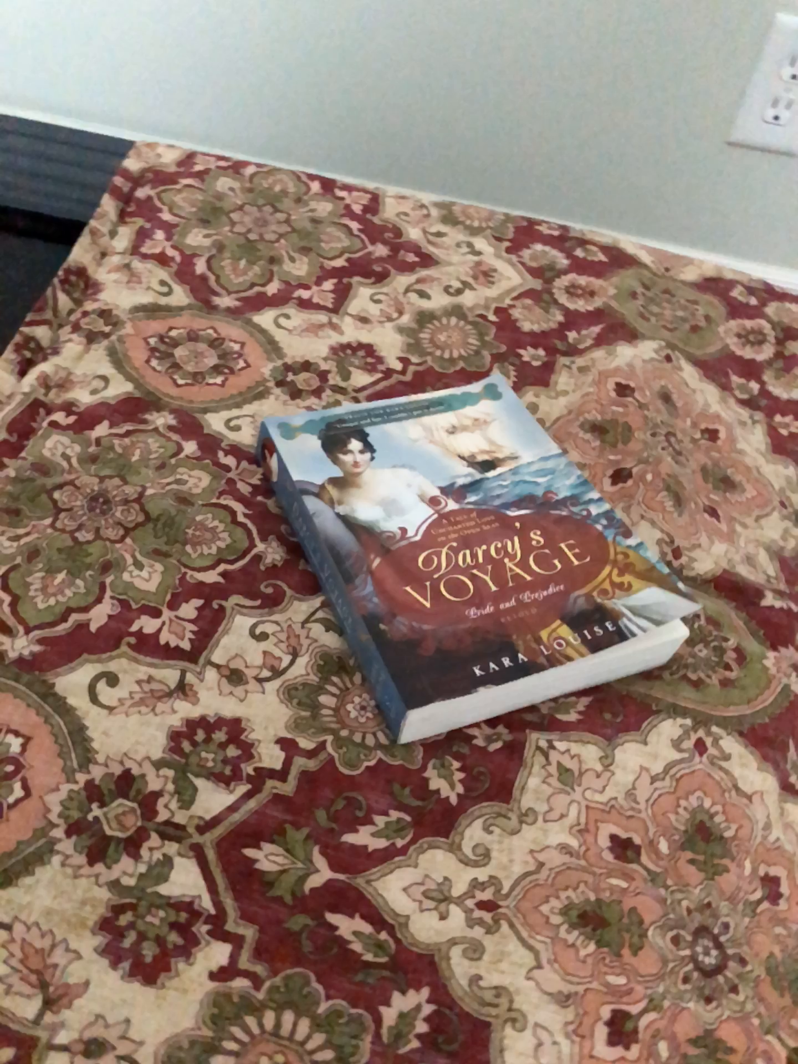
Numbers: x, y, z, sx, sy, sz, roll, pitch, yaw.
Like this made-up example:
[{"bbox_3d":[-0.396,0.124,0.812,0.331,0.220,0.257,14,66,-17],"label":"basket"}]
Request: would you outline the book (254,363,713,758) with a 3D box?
[{"bbox_3d":[0.031,-0.003,0.445,0.155,0.034,0.201,-12,50,-22],"label":"book"}]
